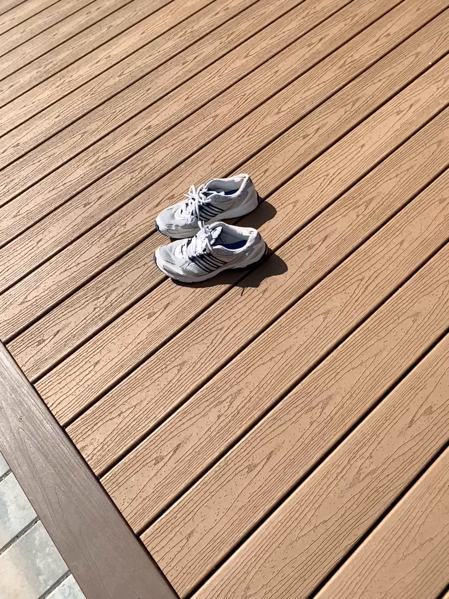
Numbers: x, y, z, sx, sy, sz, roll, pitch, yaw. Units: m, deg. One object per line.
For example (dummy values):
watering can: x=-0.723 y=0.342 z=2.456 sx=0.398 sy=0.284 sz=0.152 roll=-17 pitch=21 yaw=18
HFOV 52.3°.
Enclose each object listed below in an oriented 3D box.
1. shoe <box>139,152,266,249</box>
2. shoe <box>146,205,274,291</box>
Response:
shoe: x=-0.055 y=-0.260 z=1.203 sx=0.300 sy=0.100 sz=0.120 roll=-21 pitch=60 yaw=-3
shoe: x=-0.035 y=-0.125 z=1.125 sx=0.290 sy=0.100 sz=0.120 roll=-11 pitch=60 yaw=3
